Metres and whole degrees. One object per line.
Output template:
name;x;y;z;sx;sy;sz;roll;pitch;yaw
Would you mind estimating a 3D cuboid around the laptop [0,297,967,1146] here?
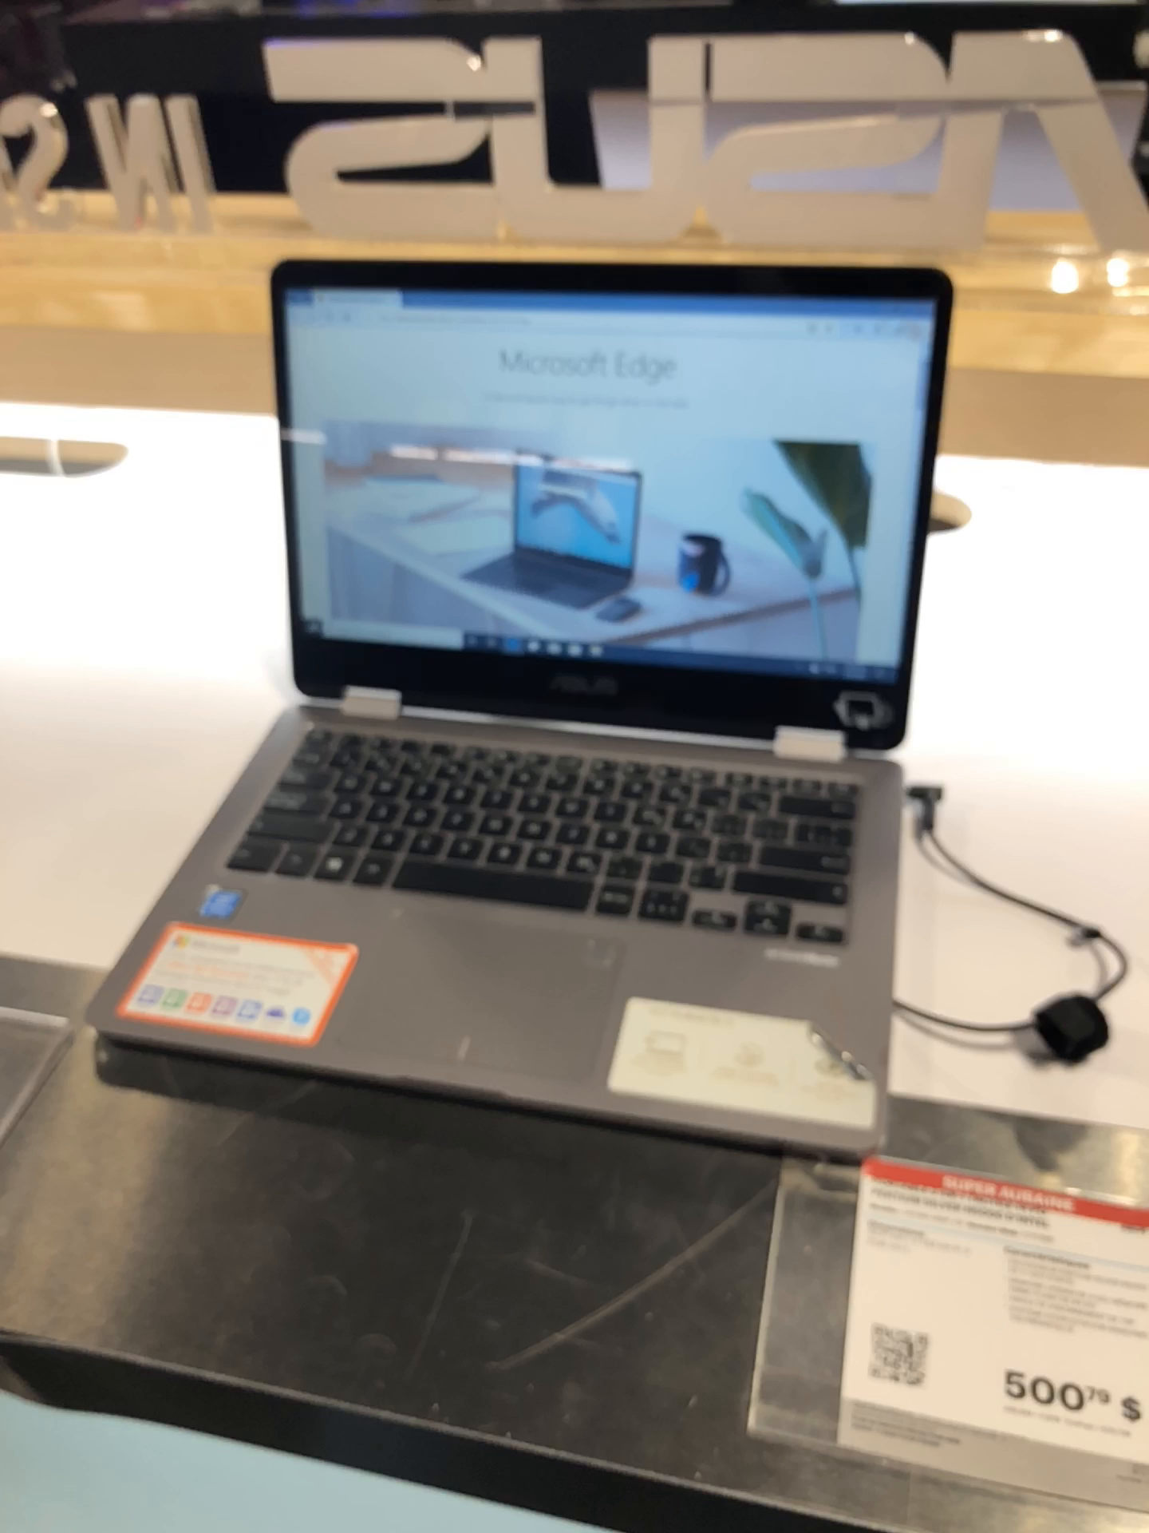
laptop;-0.014;-0.046;0.518;0.305;0.212;0.279;6;37;14
